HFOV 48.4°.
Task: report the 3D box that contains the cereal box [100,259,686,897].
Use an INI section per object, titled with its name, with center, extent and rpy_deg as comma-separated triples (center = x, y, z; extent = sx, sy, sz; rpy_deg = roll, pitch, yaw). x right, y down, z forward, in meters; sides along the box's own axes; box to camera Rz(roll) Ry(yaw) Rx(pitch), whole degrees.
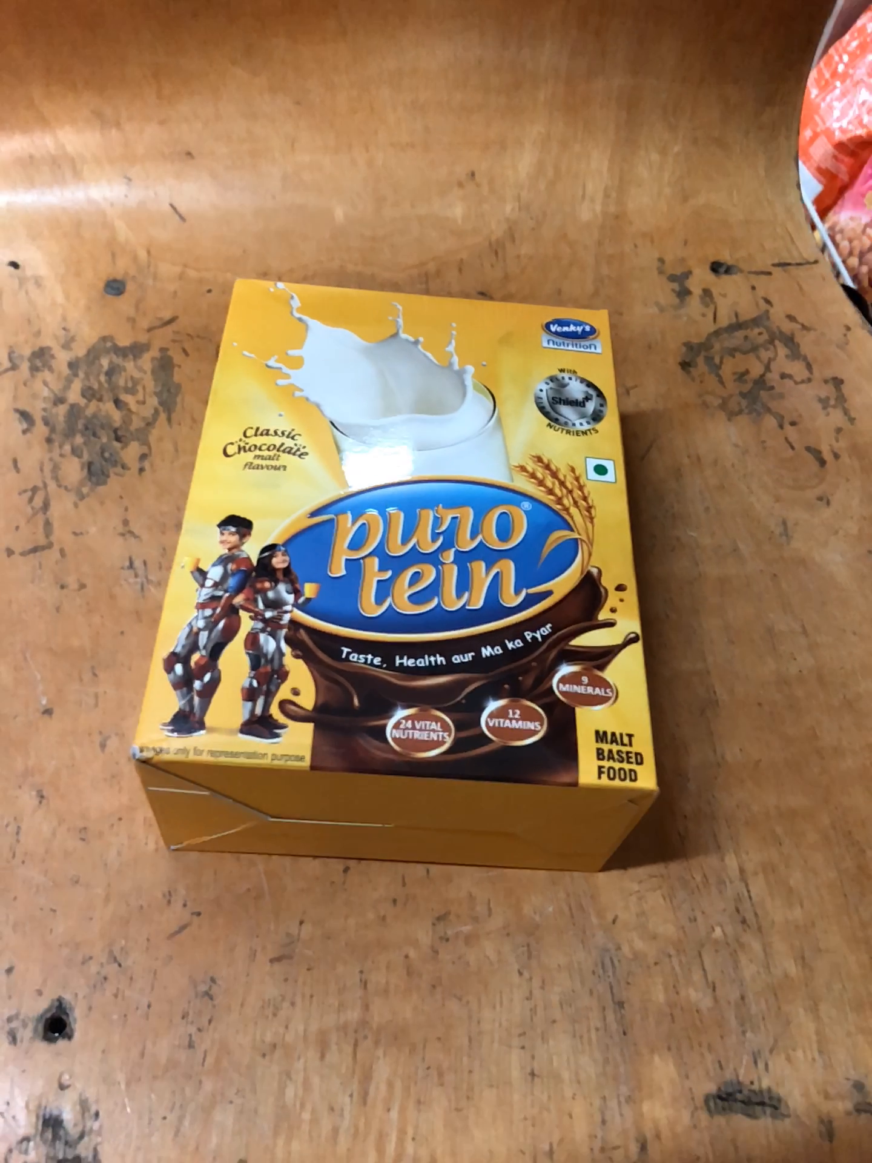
[cereal box]
center = -0.009, -0.005, 0.314
extent = 0.140, 0.080, 0.181
rpy_deg = 5, 57, -3
